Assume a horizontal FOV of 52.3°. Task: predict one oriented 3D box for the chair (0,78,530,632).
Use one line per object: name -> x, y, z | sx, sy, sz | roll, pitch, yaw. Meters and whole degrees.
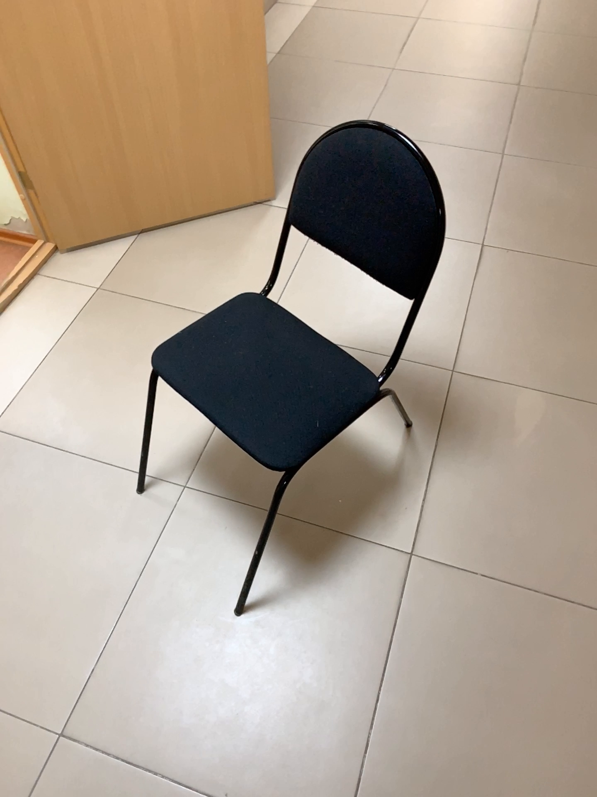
chair -> -0.037, -0.066, 1.248 | 0.692, 0.774, 0.482 | -37, 60, -25
